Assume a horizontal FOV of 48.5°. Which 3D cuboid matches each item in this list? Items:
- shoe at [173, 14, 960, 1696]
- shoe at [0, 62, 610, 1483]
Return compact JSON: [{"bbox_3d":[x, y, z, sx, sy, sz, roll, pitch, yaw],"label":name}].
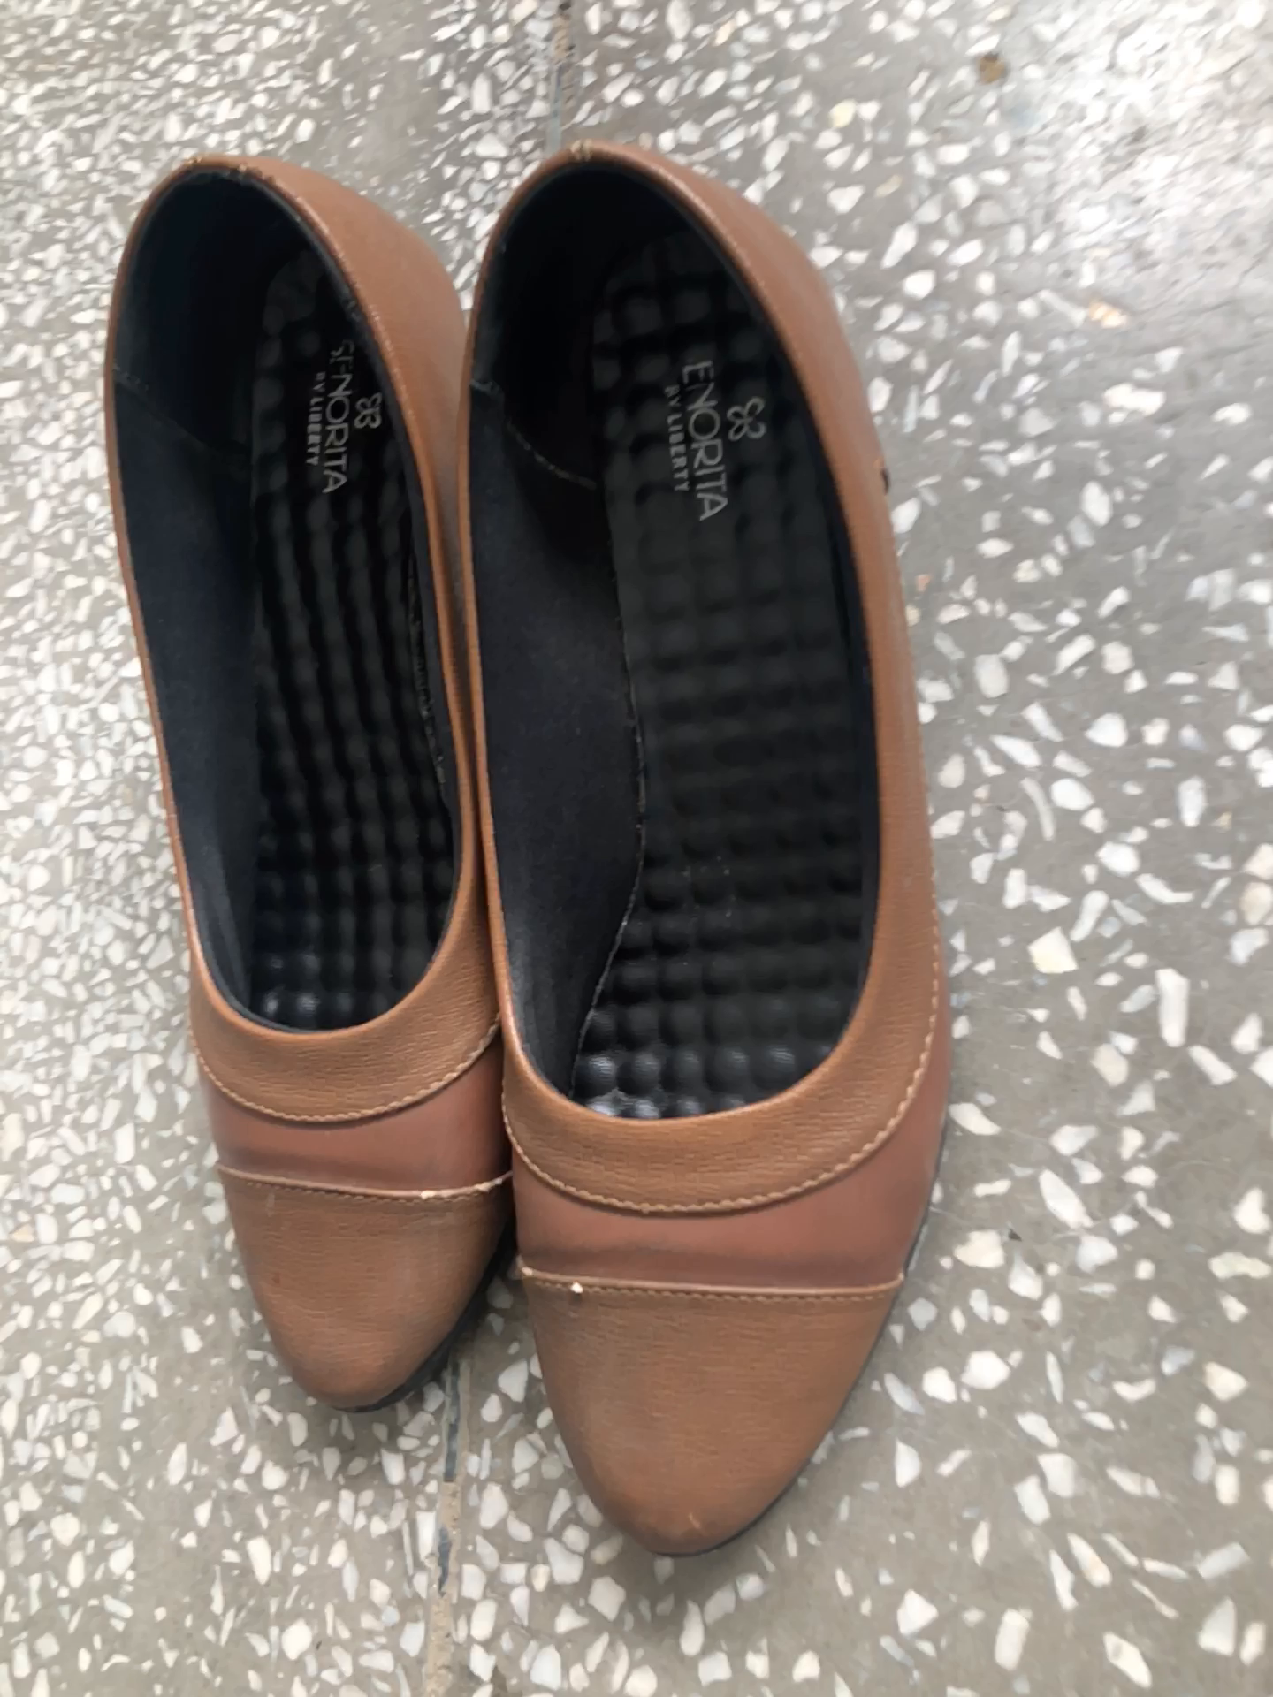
[{"bbox_3d":[0.001,-0.001,0.253,0.092,0.096,0.241,-4,74,22],"label":"shoe"},{"bbox_3d":[-0.074,-0.014,0.292,0.090,0.096,0.244,-2,75,23],"label":"shoe"}]
